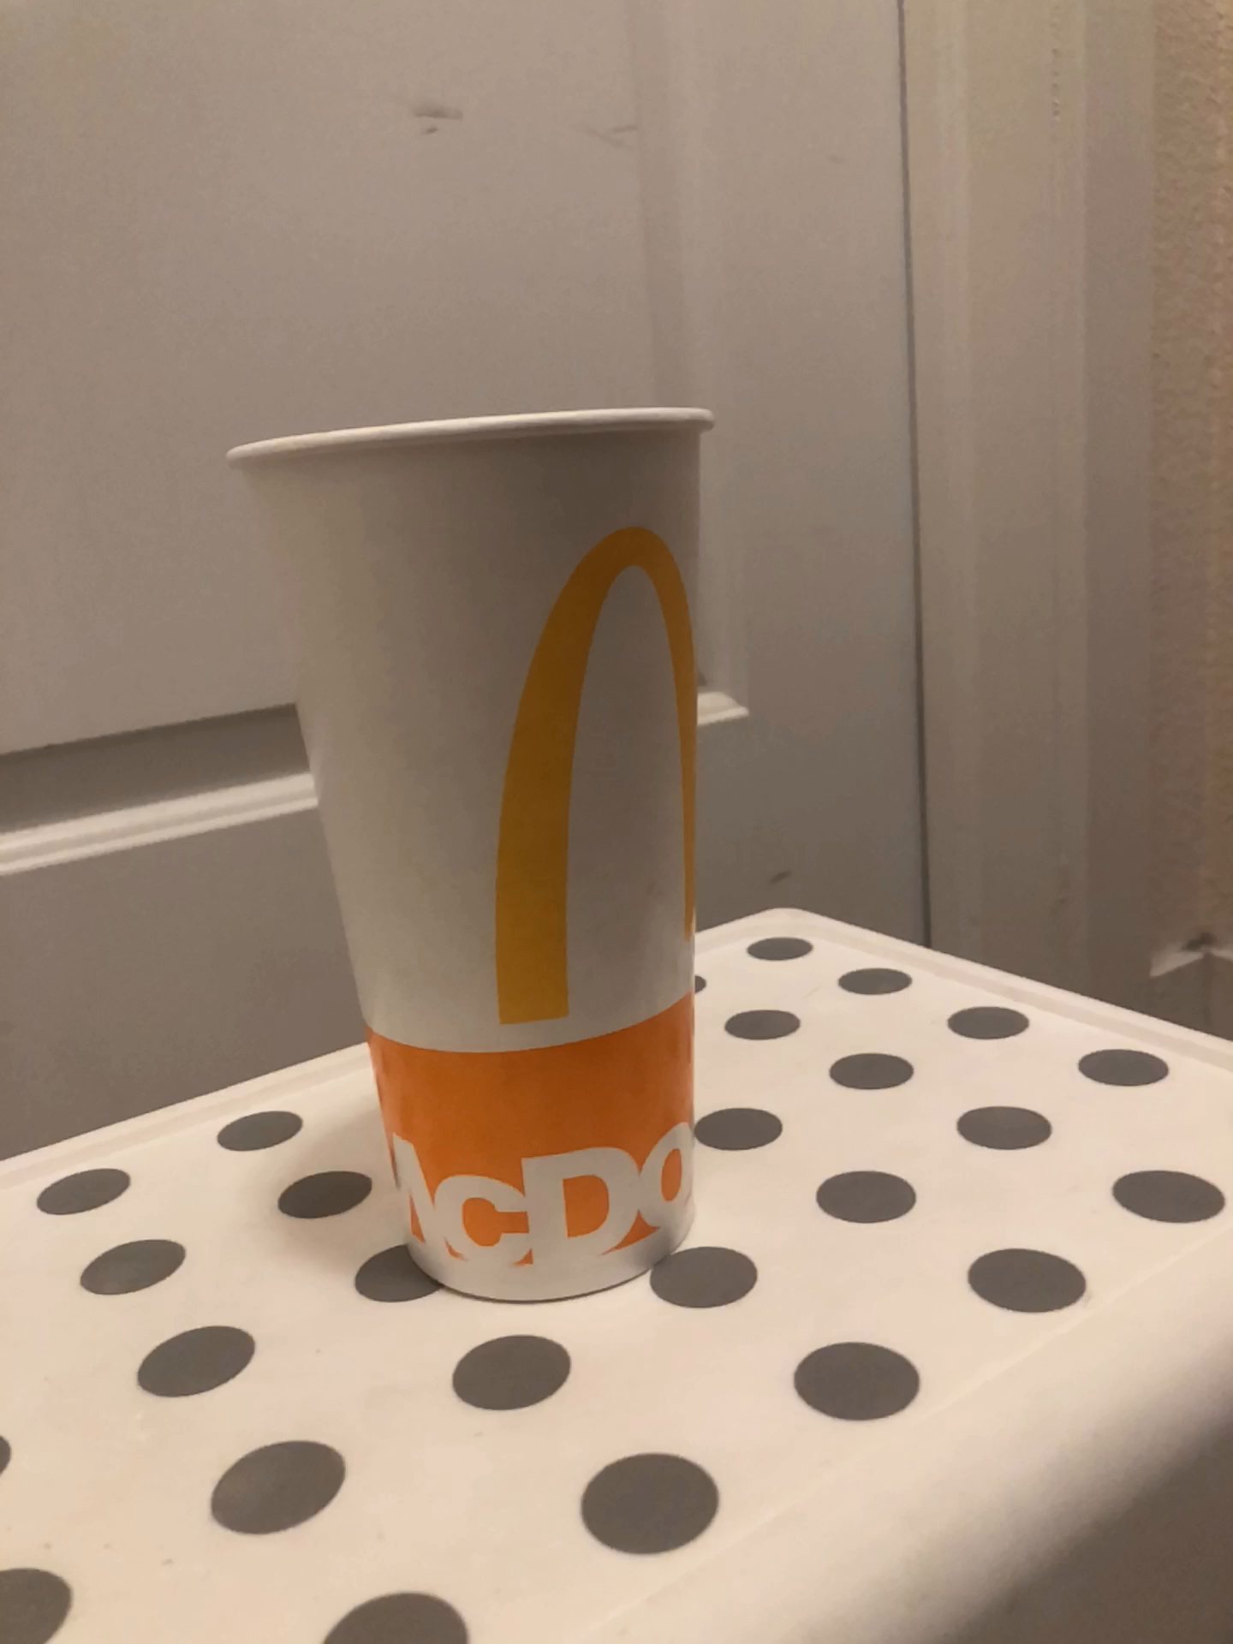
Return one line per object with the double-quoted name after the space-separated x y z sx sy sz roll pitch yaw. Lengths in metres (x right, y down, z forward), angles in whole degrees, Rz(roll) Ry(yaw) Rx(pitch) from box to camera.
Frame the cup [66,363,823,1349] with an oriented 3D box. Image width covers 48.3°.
-0.020 -0.001 0.269 0.099 0.155 0.100 -4 14 1 "cup"
